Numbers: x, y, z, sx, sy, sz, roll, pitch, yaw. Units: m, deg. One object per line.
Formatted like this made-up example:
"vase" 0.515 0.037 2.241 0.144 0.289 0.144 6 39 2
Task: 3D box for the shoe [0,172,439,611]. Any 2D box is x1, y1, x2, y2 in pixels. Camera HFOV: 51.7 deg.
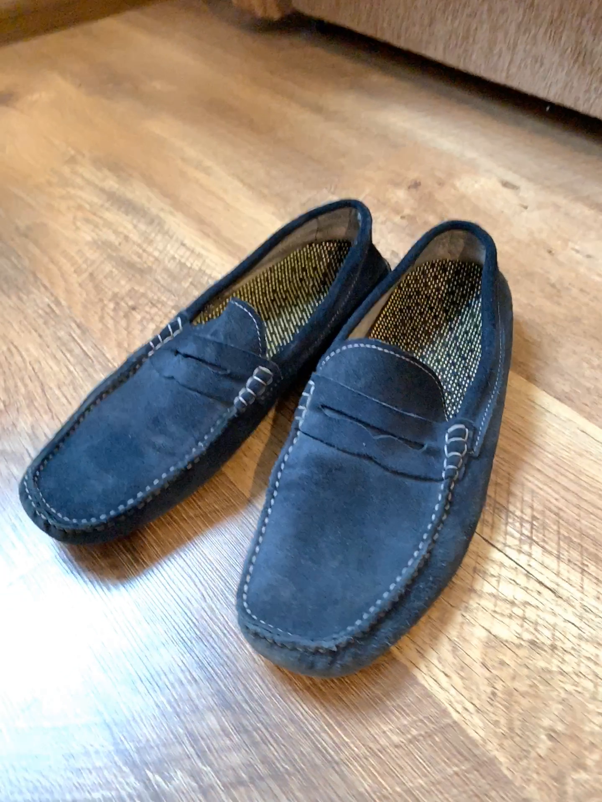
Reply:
"shoe" -0.039 -0.028 0.356 0.100 0.070 0.271 30 57 26

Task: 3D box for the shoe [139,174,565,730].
"shoe" 0.050 -0.007 0.327 0.110 0.070 0.291 17 52 17
